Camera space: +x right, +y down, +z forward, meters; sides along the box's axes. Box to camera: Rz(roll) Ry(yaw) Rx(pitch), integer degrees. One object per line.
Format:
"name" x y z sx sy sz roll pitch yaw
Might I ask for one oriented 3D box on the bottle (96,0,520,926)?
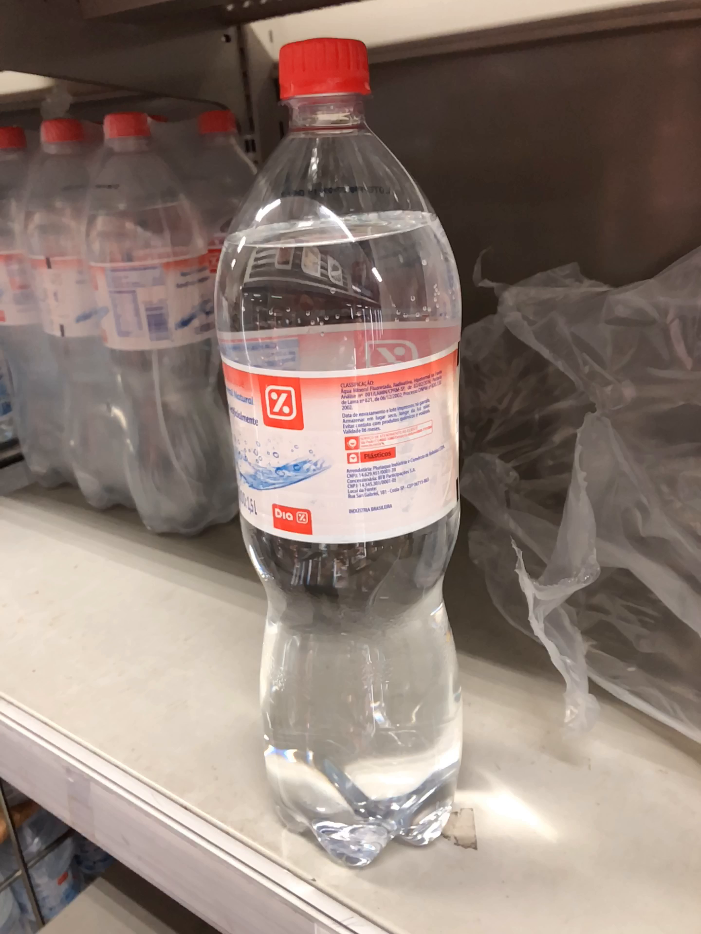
"bottle" -0.007 0.006 0.307 0.100 0.318 0.101 -5 23 2
